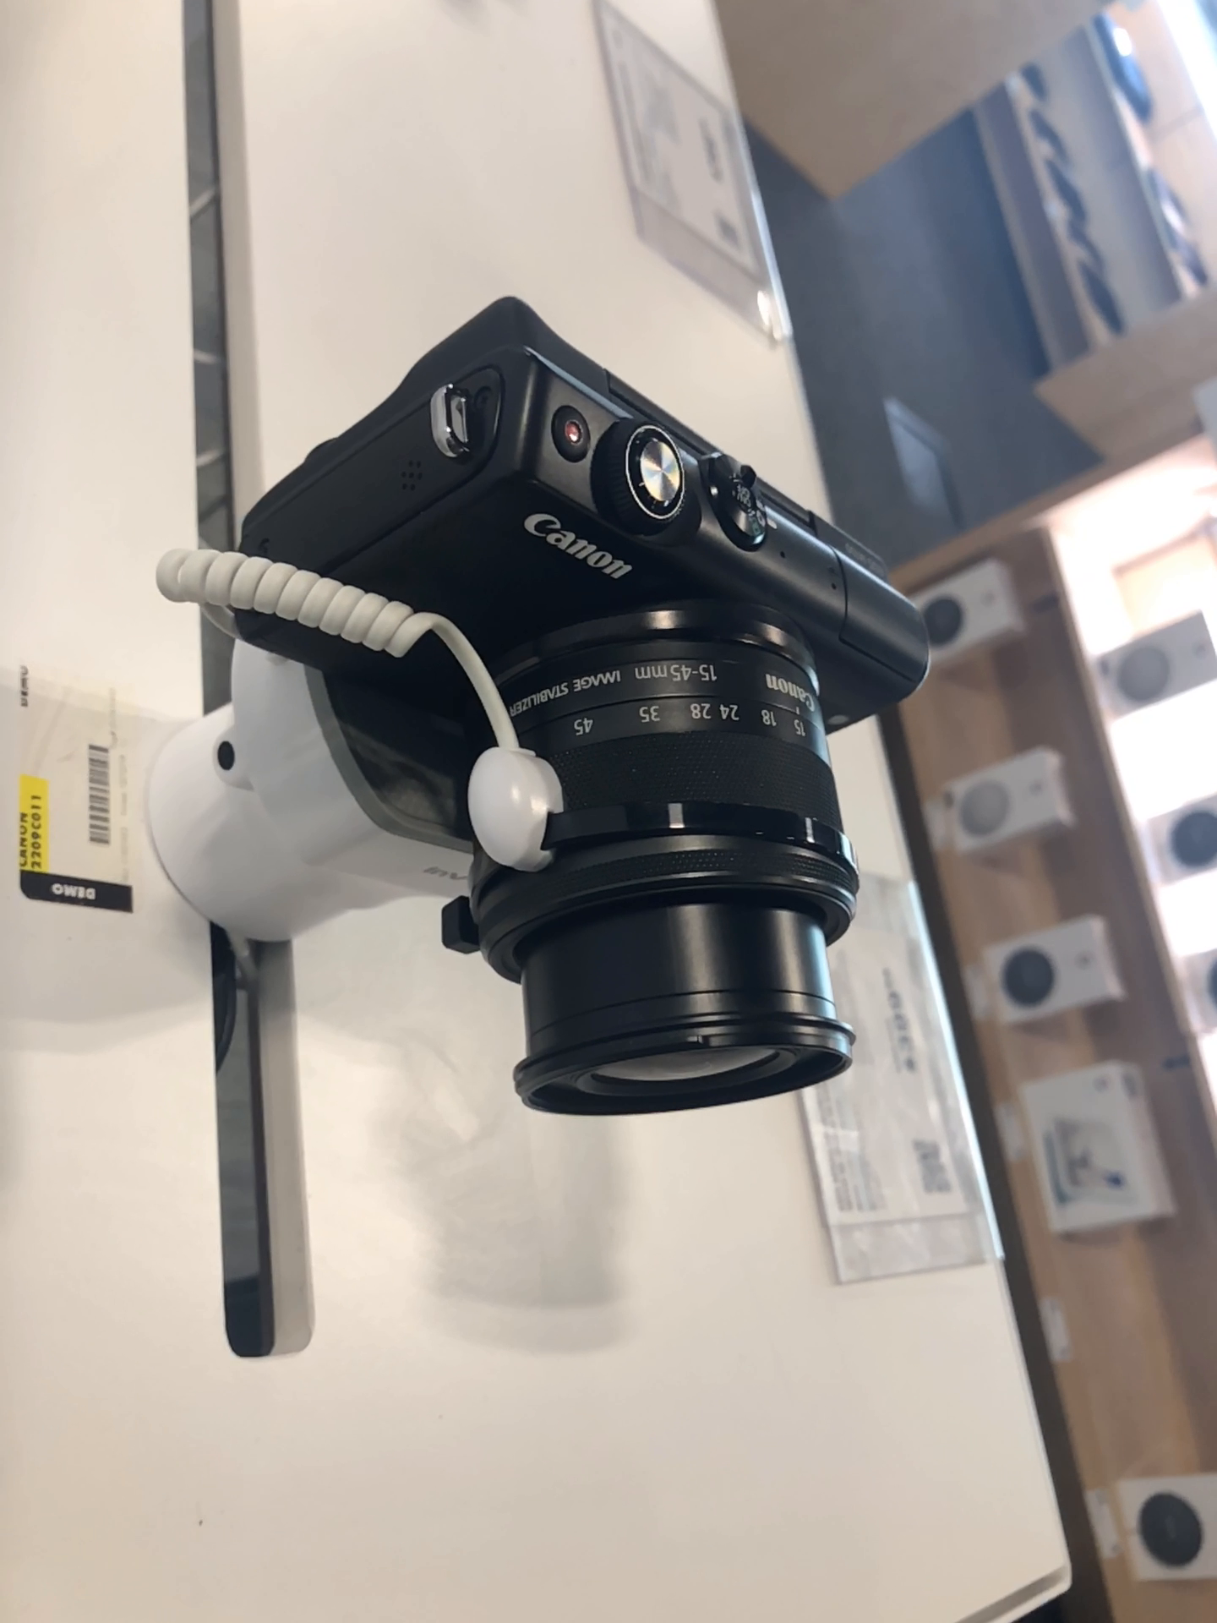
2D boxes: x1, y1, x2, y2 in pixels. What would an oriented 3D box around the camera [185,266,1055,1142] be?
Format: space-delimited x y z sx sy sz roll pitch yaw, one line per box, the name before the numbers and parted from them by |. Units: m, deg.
camera | 0.003 -0.003 0.216 0.110 0.072 0.091 19 56 -46
